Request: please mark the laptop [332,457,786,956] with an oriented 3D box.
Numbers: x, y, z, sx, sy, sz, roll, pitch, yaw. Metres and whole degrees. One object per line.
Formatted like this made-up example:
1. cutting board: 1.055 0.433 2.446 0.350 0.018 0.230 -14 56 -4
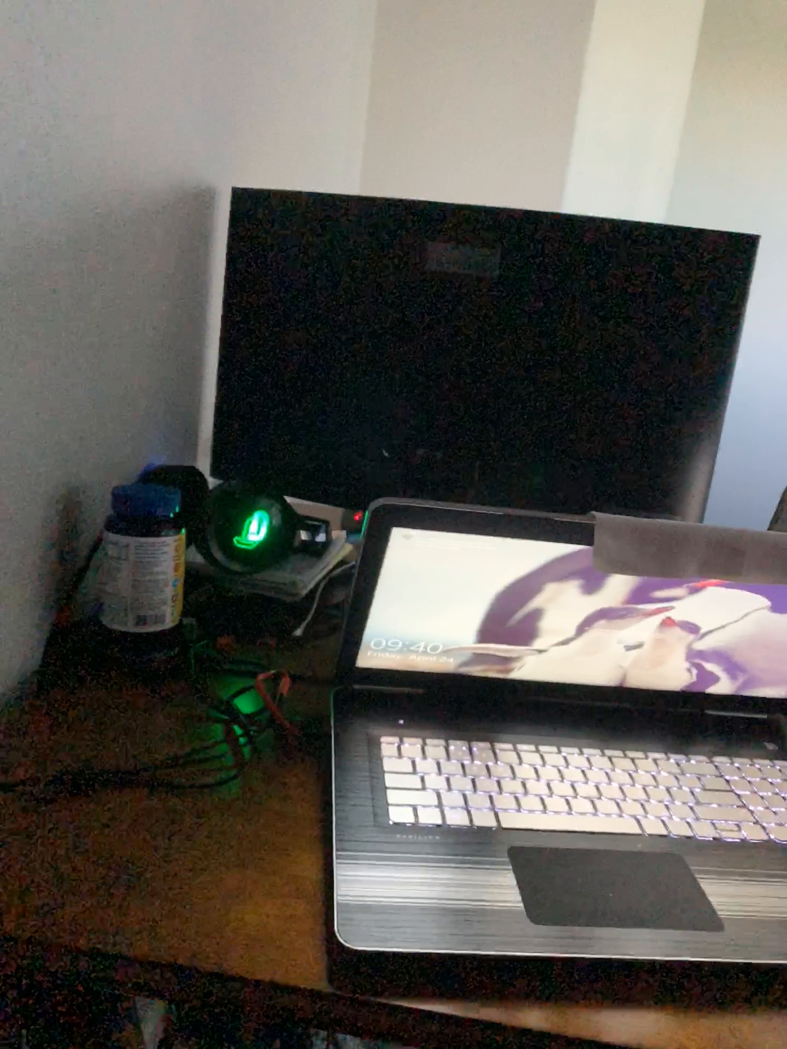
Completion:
1. laptop: 0.168 0.100 0.540 0.393 0.187 0.258 5 17 -8
